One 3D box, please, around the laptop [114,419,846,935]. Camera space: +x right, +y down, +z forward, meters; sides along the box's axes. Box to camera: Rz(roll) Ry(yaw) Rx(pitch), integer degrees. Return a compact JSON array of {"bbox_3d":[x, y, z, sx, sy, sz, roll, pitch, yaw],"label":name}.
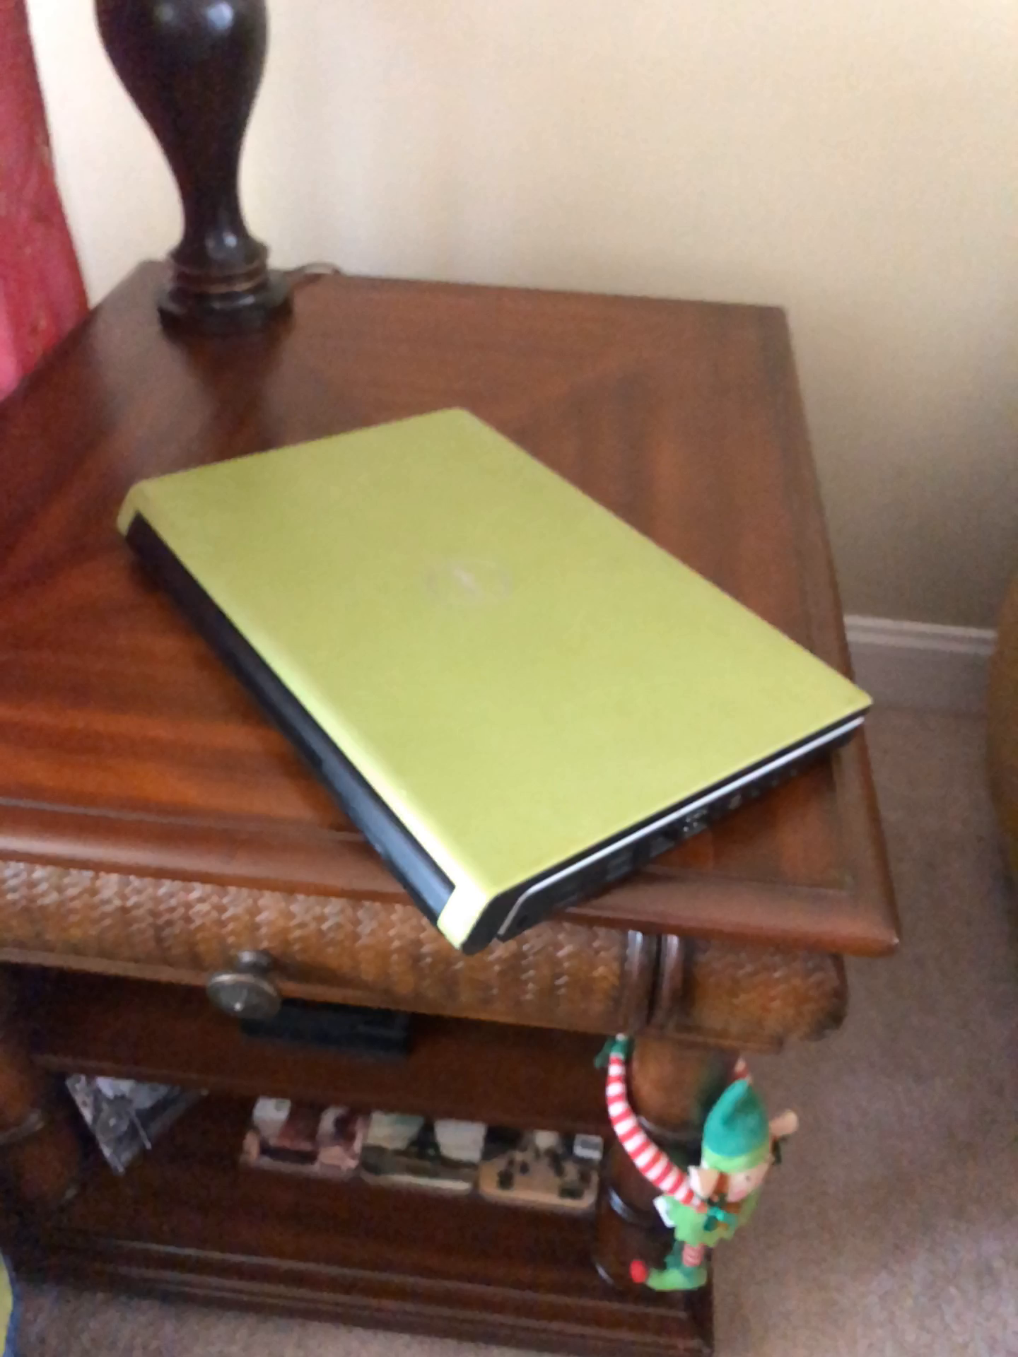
[{"bbox_3d":[-0.034,-0.040,0.637,0.237,0.020,0.379,-21,45,-31],"label":"laptop"}]
